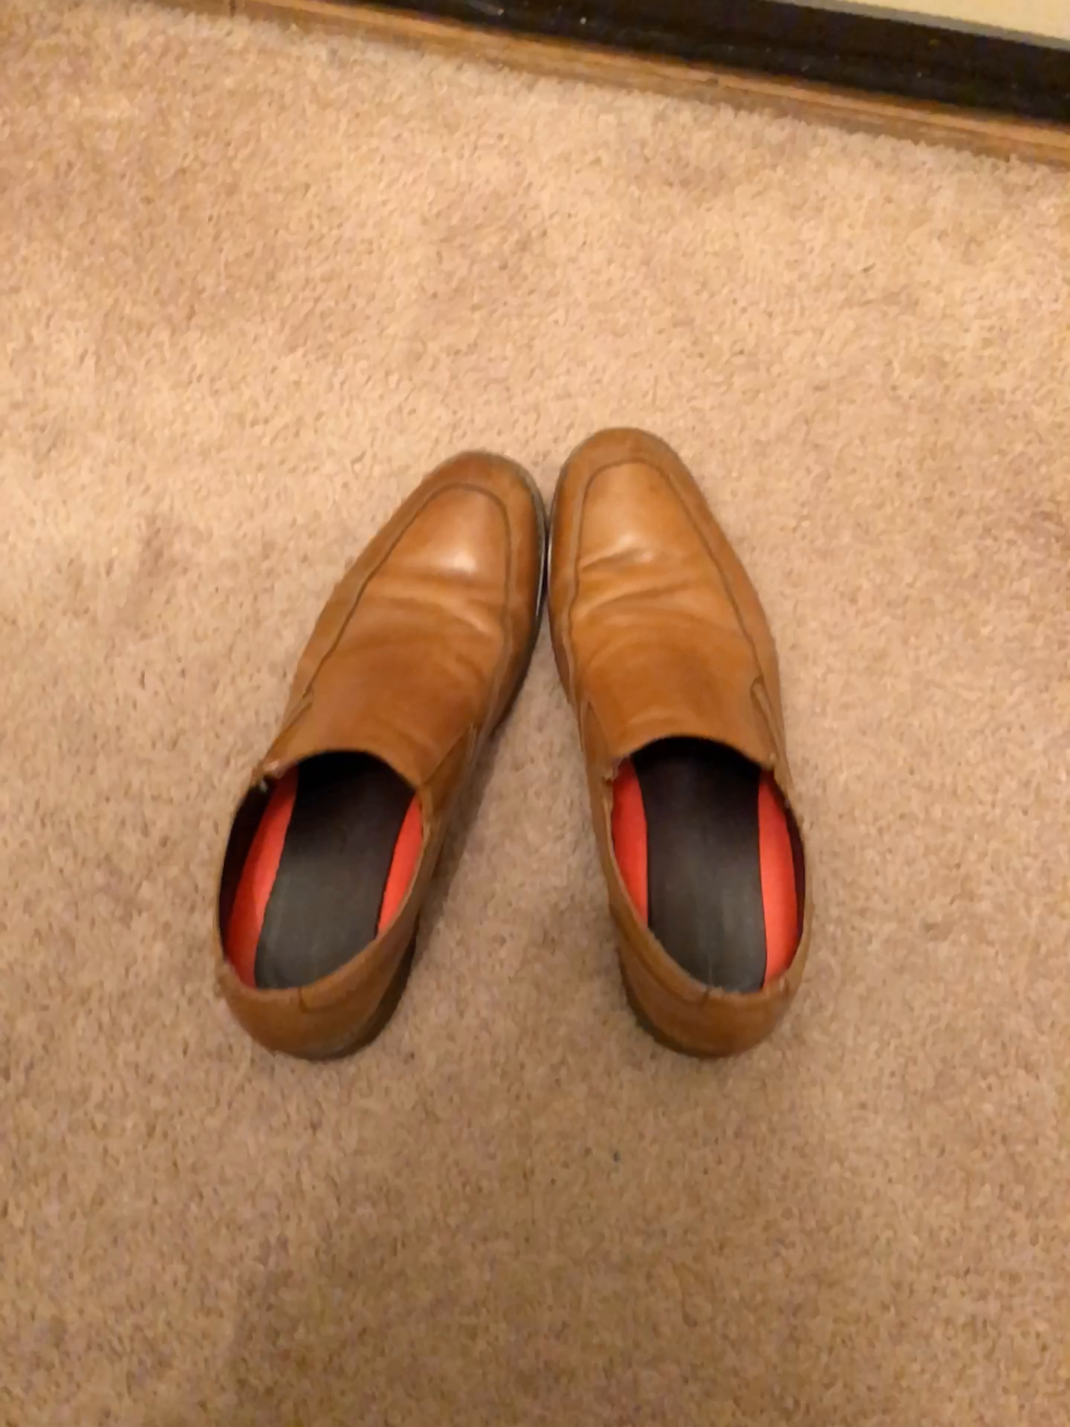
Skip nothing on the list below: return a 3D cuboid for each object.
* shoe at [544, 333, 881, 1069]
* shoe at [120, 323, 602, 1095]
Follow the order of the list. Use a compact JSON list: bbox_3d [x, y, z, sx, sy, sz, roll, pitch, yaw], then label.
[{"bbox_3d":[0.067,-0.009,0.524,0.107,0.089,0.311,-4,69,2],"label":"shoe"},{"bbox_3d":[-0.061,-0.008,0.527,0.100,0.090,0.320,15,71,7],"label":"shoe"}]
